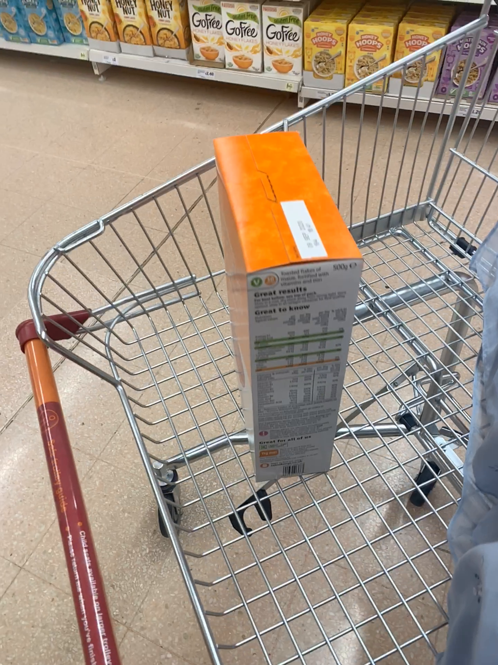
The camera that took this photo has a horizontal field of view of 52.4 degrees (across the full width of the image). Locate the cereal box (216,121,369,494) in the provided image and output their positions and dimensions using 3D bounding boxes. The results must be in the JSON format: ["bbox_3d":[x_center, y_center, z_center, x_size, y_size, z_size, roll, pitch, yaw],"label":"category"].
[{"bbox_3d":[0.028,-0.013,0.514,0.080,0.307,0.212,-7,46,-5],"label":"cereal box"}]
